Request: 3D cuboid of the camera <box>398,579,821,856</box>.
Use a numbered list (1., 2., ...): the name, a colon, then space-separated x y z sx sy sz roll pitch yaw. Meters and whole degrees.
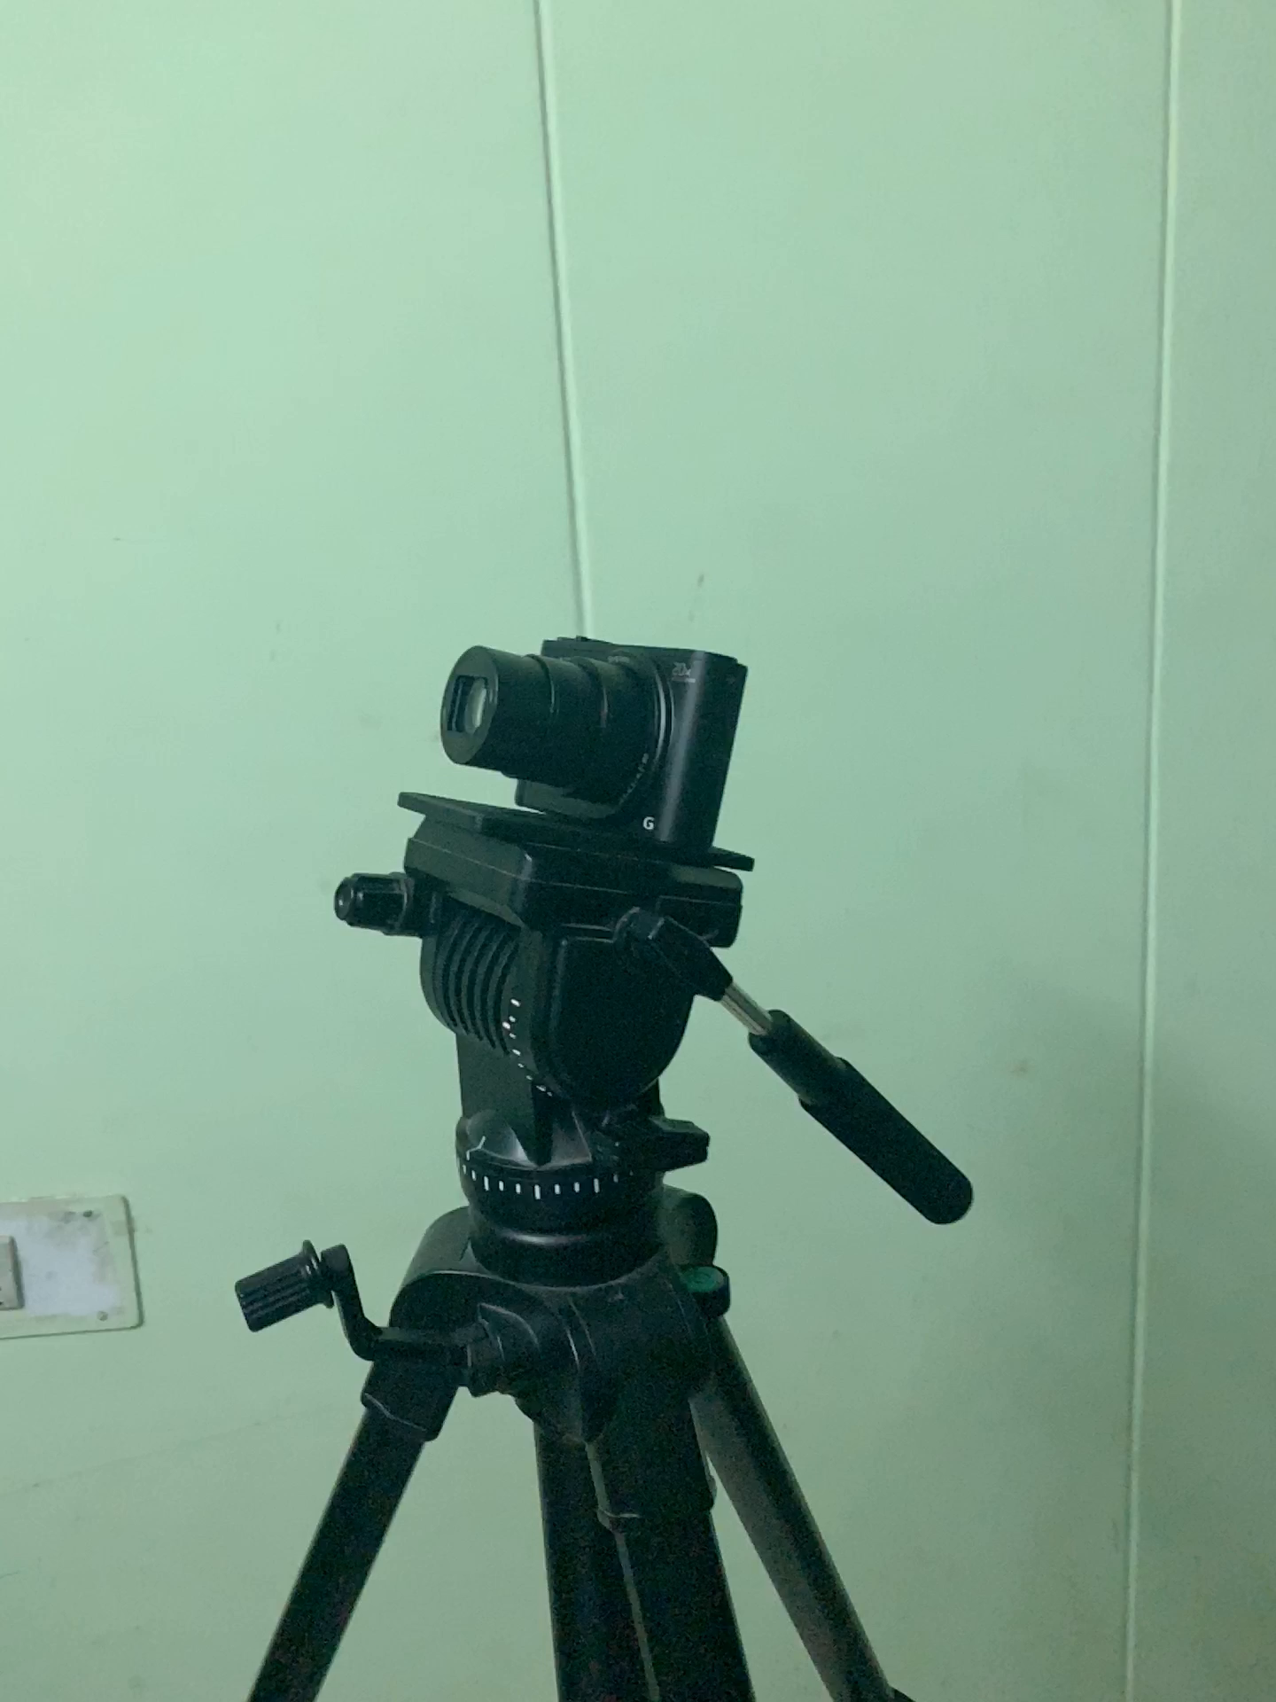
1. camera: -0.012 -0.040 0.379 0.067 0.060 0.102 9 4 -35
